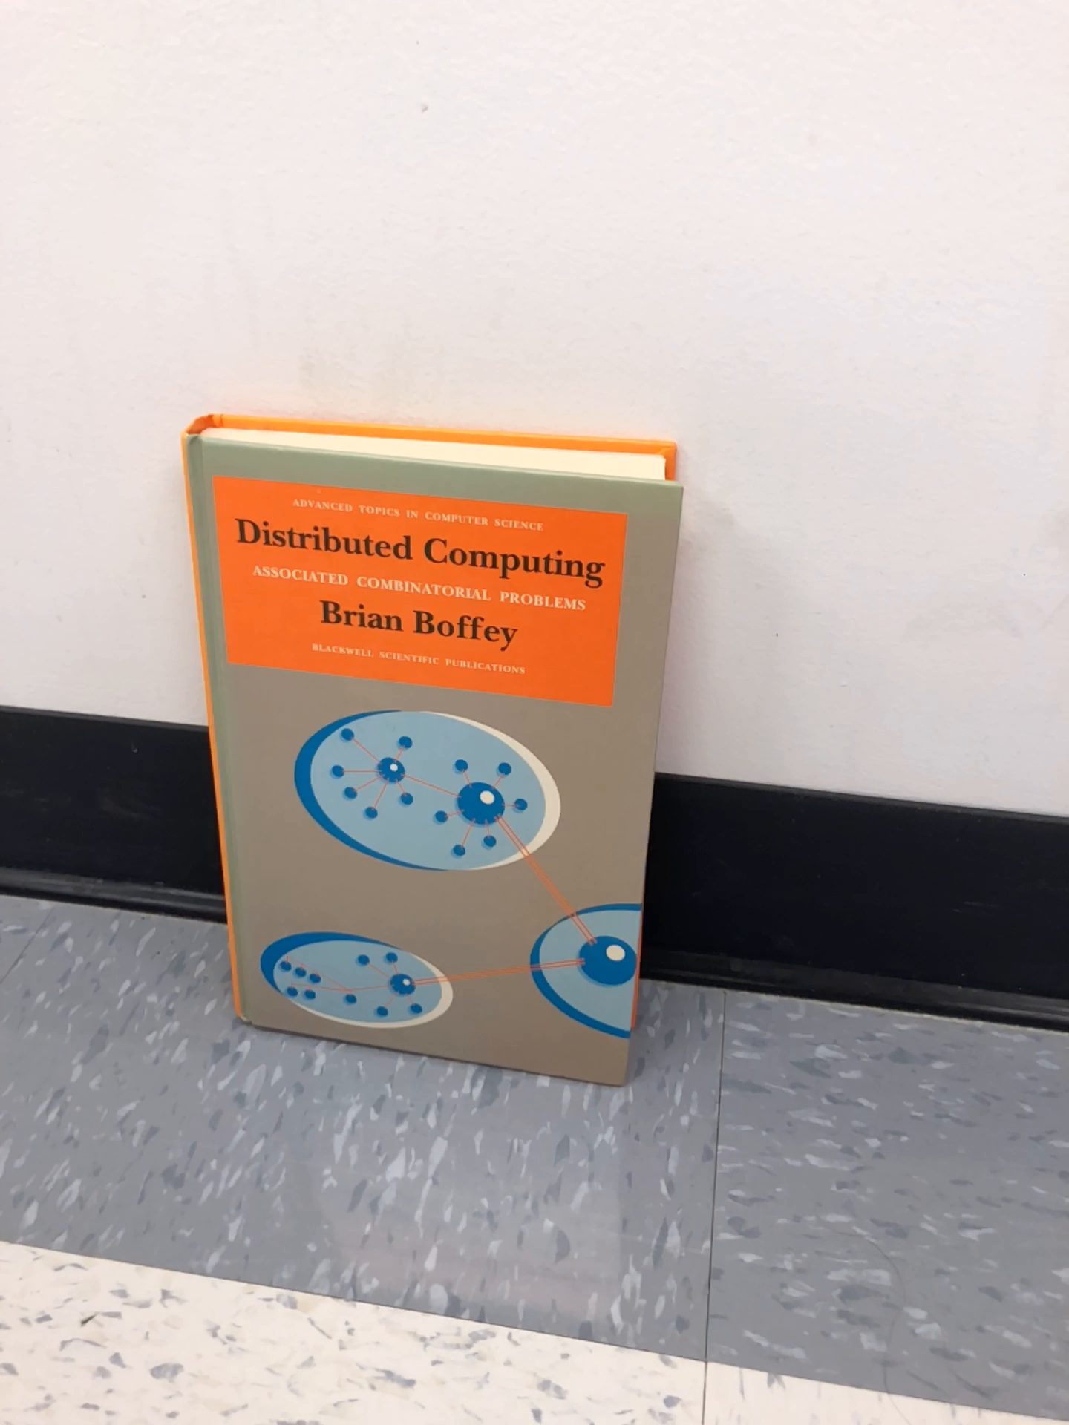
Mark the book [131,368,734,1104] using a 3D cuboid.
[{"bbox_3d":[-0.031,0.014,0.404,0.170,0.239,0.050,7,28,10],"label":"book"}]
